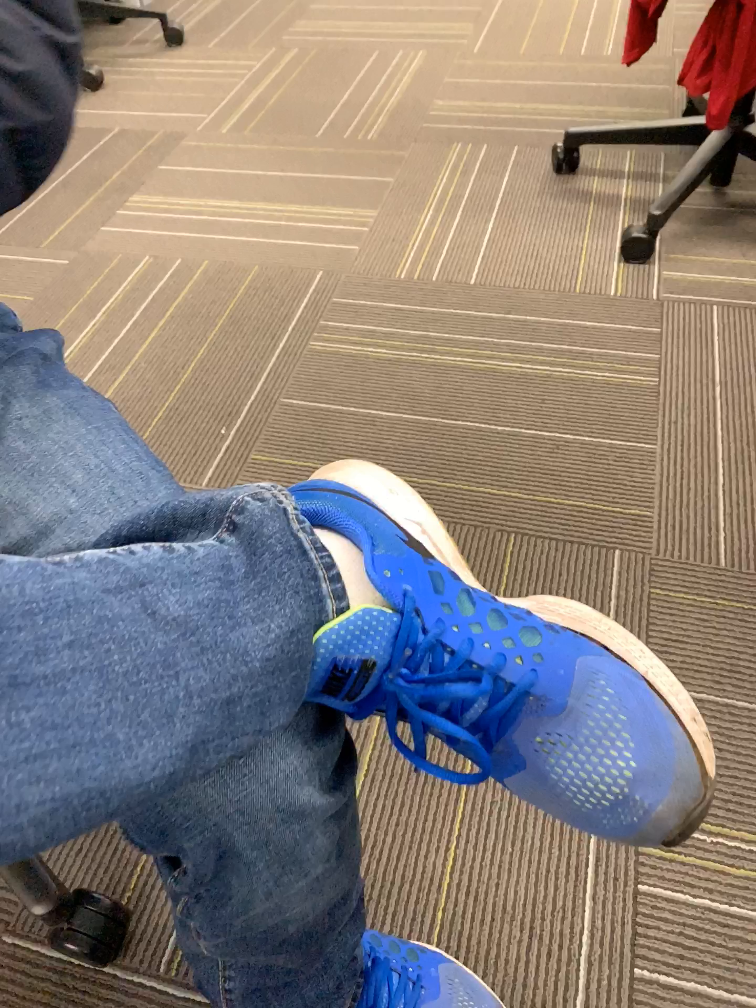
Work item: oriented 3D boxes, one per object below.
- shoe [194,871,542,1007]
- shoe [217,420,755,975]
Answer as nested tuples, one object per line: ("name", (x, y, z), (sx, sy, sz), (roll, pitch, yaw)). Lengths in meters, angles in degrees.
("shoe", (-0.007, 0.440, 0.701), (0.284, 0.086, 0.101), (11, 49, 15))
("shoe", (0.052, 0.072, 0.403), (0.276, 0.117, 0.103), (31, 32, 29))
